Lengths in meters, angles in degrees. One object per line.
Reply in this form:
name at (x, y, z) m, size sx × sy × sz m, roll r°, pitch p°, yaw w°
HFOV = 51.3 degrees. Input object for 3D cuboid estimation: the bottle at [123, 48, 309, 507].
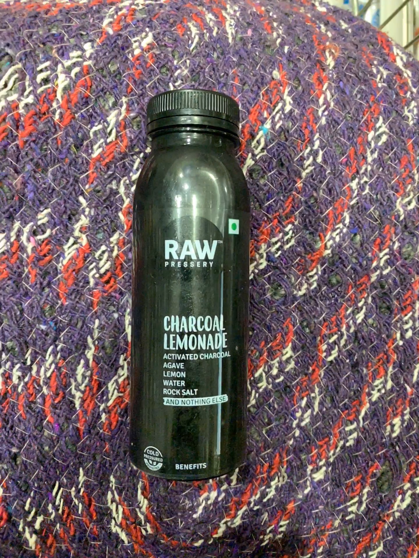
bottle at (-0.002, 0.002, 0.181) m, size 0.060 × 0.050 × 0.160 m, roll 2°, pitch 95°, yaw -10°
